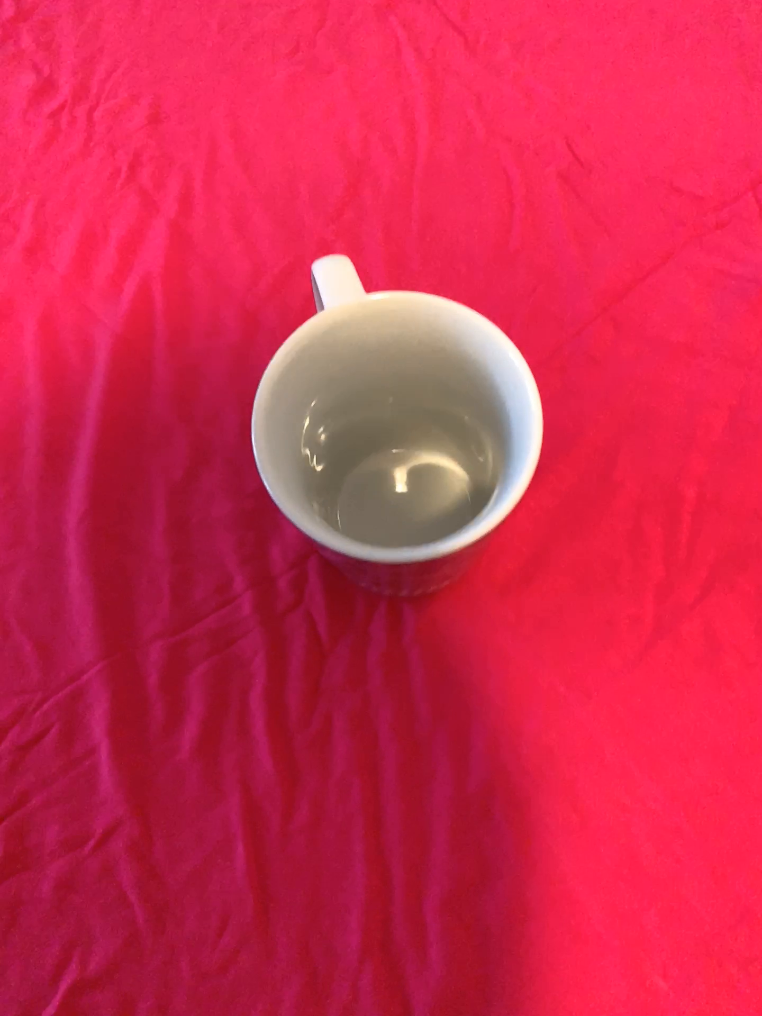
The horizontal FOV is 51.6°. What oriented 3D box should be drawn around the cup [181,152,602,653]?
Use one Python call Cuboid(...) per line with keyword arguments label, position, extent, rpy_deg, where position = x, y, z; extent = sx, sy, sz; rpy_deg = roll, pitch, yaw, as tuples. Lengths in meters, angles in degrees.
Cuboid(label="cup", position=(0.001, -0.025, 0.255), extent=(0.080, 0.100, 0.110), rpy_deg=(-18, 72, -3))
